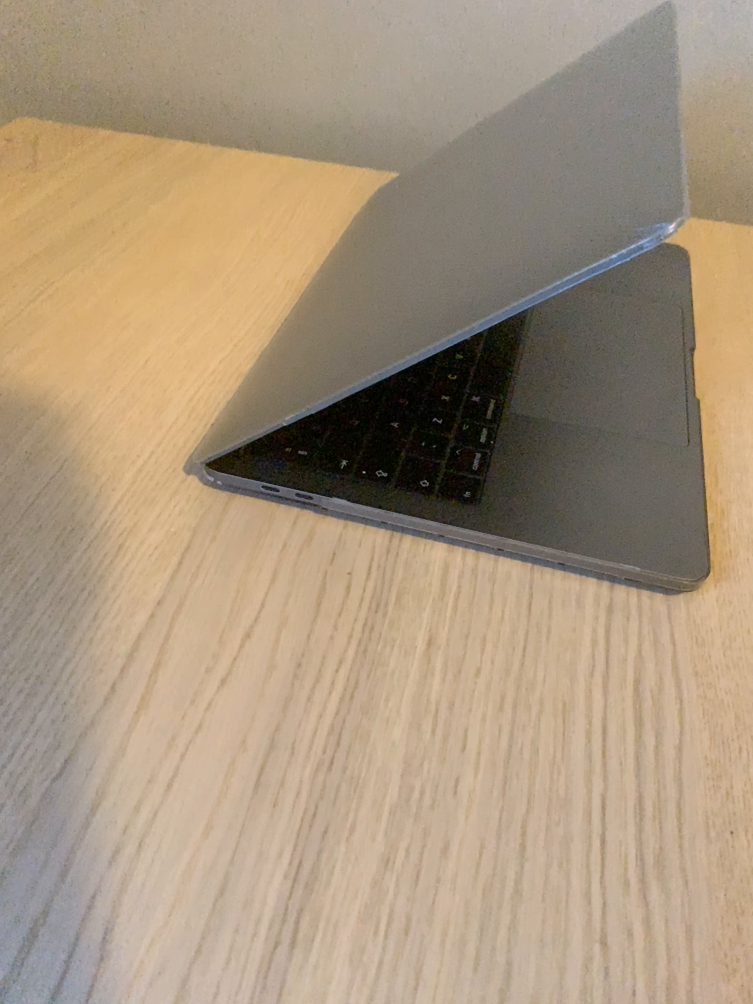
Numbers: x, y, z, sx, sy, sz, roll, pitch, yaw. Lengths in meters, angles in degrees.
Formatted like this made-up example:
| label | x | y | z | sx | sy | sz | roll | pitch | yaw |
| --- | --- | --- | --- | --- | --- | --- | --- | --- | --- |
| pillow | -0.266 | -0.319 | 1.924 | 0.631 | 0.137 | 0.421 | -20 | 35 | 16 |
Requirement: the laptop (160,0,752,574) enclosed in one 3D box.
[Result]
| label | x | y | z | sx | sy | sz | roll | pitch | yaw |
| --- | --- | --- | --- | --- | --- | --- | --- | --- | --- |
| laptop | 0.065 | -0.137 | 0.368 | 0.204 | 0.130 | 0.291 | 12 | 44 | 9 |
